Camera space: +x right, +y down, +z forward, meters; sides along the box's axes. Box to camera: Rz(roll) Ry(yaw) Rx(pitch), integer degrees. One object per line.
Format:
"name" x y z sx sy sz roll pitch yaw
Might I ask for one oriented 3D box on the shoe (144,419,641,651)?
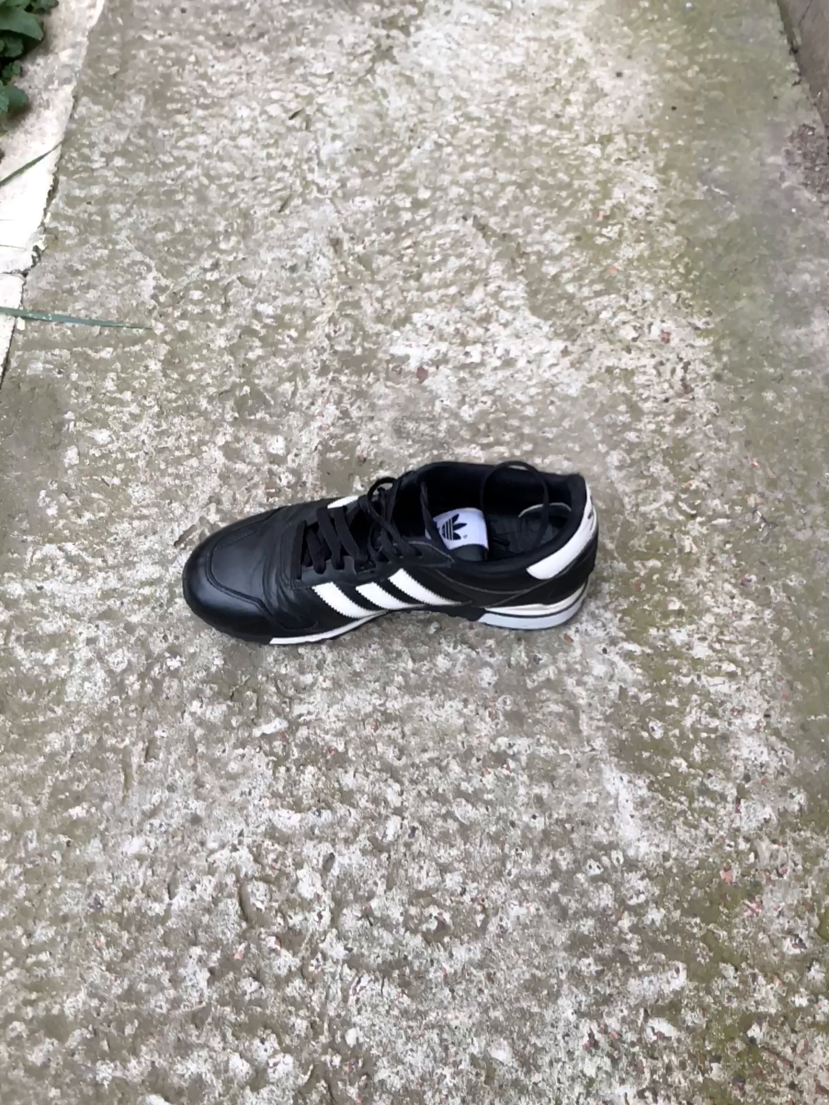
"shoe" -0.016 -0.009 0.589 0.280 0.119 0.100 -1 62 -5
